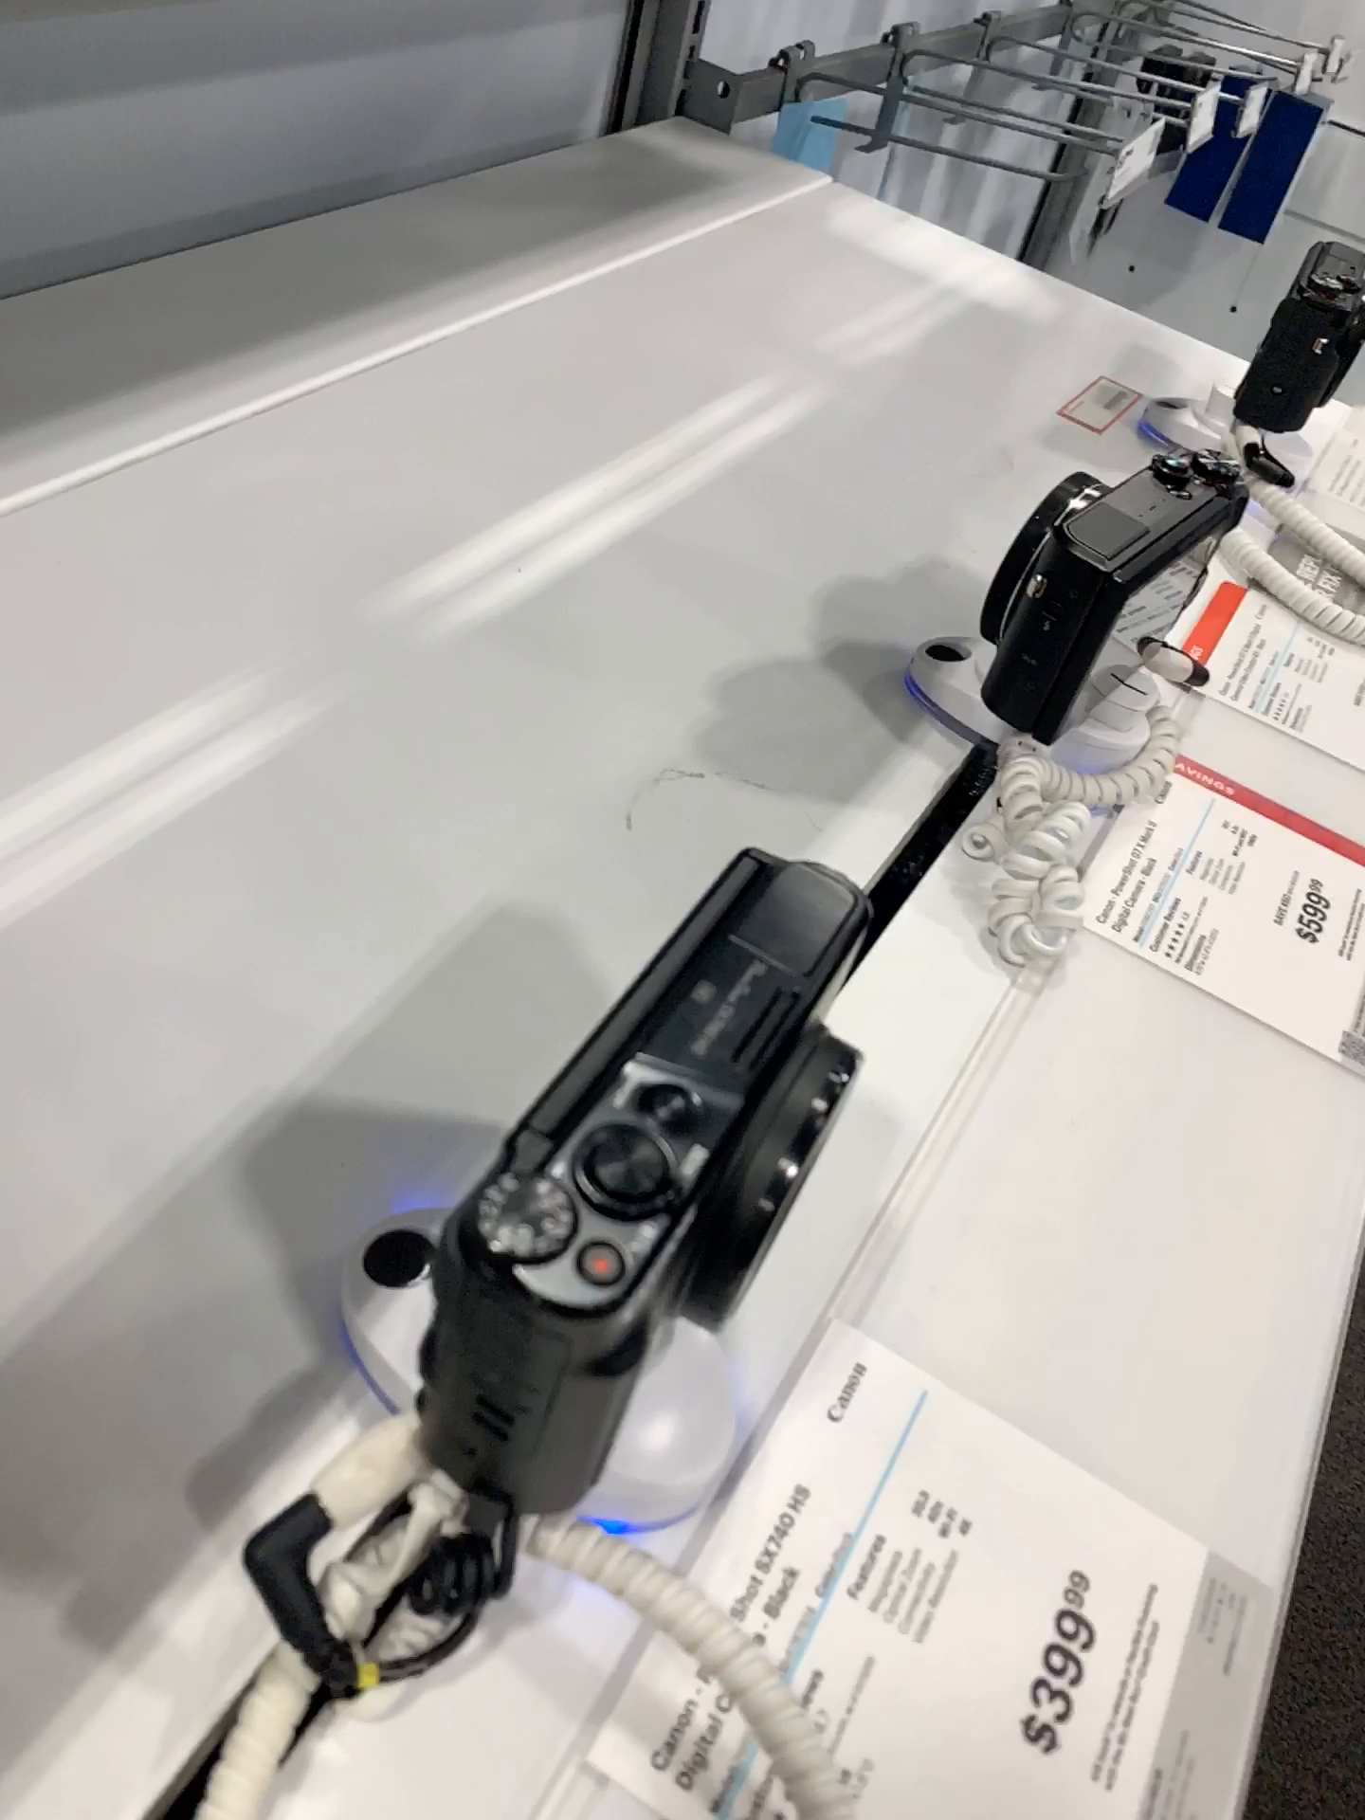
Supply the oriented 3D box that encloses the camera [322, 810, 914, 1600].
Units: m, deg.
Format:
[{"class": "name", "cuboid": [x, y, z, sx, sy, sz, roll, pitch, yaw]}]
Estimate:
[{"class": "camera", "cuboid": [-0.008, 0.045, 0.248, 0.041, 0.063, 0.121, 27, 43, 11]}]
